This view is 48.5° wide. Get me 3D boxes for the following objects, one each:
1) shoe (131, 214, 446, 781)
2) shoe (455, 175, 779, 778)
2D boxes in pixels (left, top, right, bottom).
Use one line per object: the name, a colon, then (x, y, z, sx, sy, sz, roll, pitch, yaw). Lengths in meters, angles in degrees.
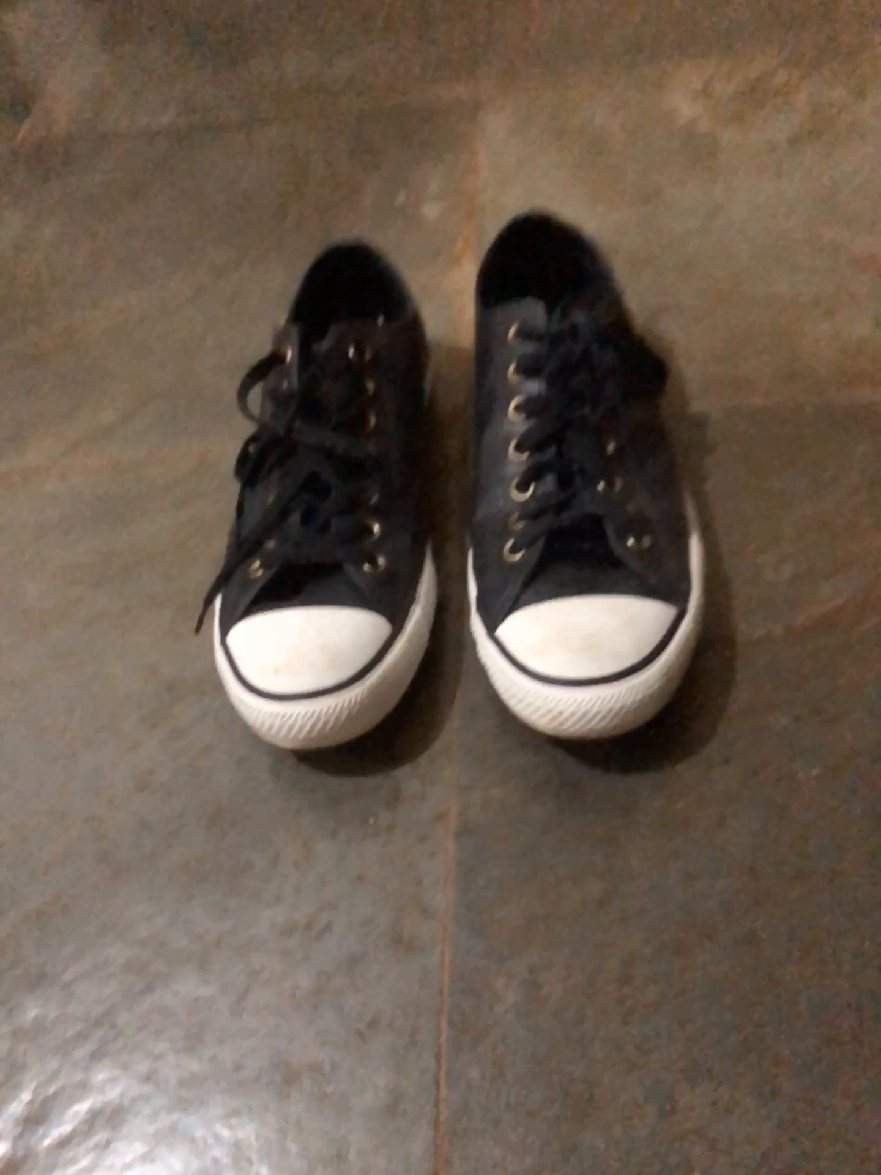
shoe: (-0.054, -0.059, 0.472, 0.100, 0.080, 0.292, -4, 51, 7)
shoe: (0.068, -0.071, 0.464, 0.110, 0.080, 0.312, -4, 51, 7)
